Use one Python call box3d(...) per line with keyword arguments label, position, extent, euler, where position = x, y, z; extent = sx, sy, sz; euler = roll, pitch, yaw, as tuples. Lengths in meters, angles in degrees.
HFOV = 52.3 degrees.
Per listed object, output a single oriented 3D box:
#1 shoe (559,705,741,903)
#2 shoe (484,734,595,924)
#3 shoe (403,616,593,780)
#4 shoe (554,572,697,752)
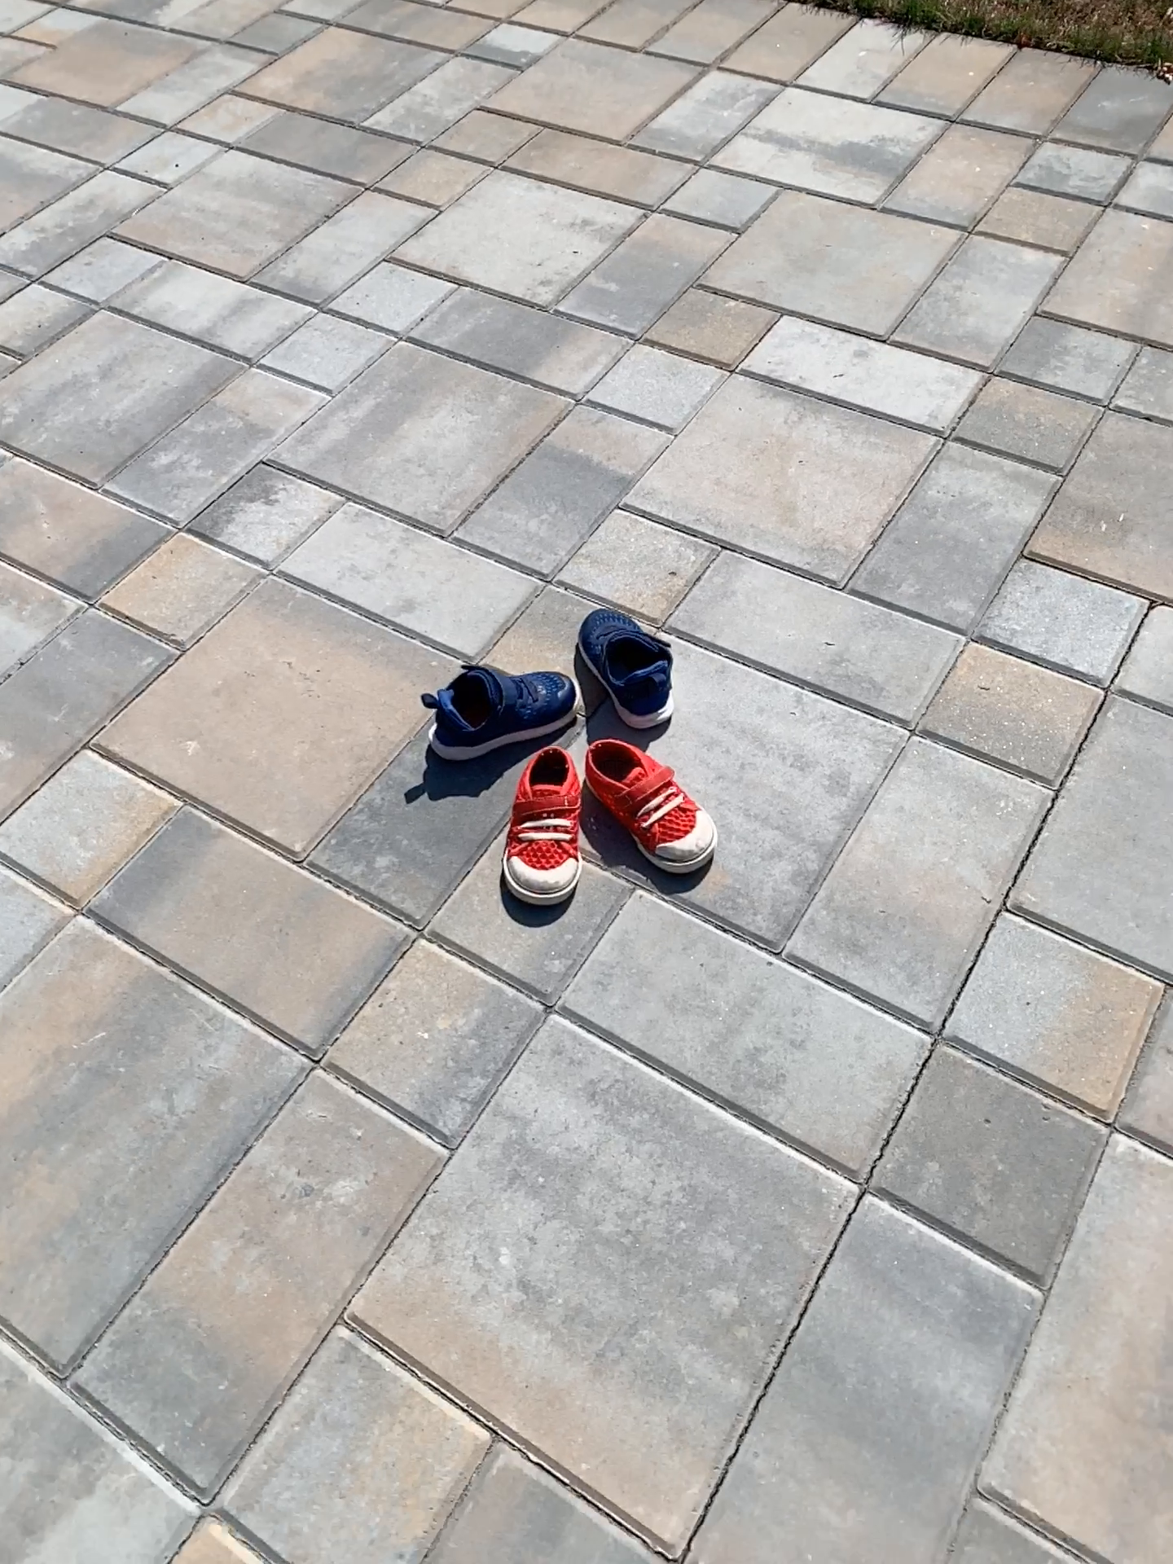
box3d(label="shoe", position=(0.057, 0.018, 1.107), extent=(0.080, 0.070, 0.160), euler=(-34, 60, -19))
box3d(label="shoe", position=(-0.041, 0.042, 1.114), extent=(0.080, 0.070, 0.160), euler=(3, 55, 5))
box3d(label="shoe", position=(-0.085, -0.083, 1.175), extent=(0.160, 0.080, 0.080), euler=(-21, 56, -11))
box3d(label="shoe", position=(0.038, -0.123, 1.212), extent=(0.080, 0.070, 0.161), euler=(-22, 56, -12))
